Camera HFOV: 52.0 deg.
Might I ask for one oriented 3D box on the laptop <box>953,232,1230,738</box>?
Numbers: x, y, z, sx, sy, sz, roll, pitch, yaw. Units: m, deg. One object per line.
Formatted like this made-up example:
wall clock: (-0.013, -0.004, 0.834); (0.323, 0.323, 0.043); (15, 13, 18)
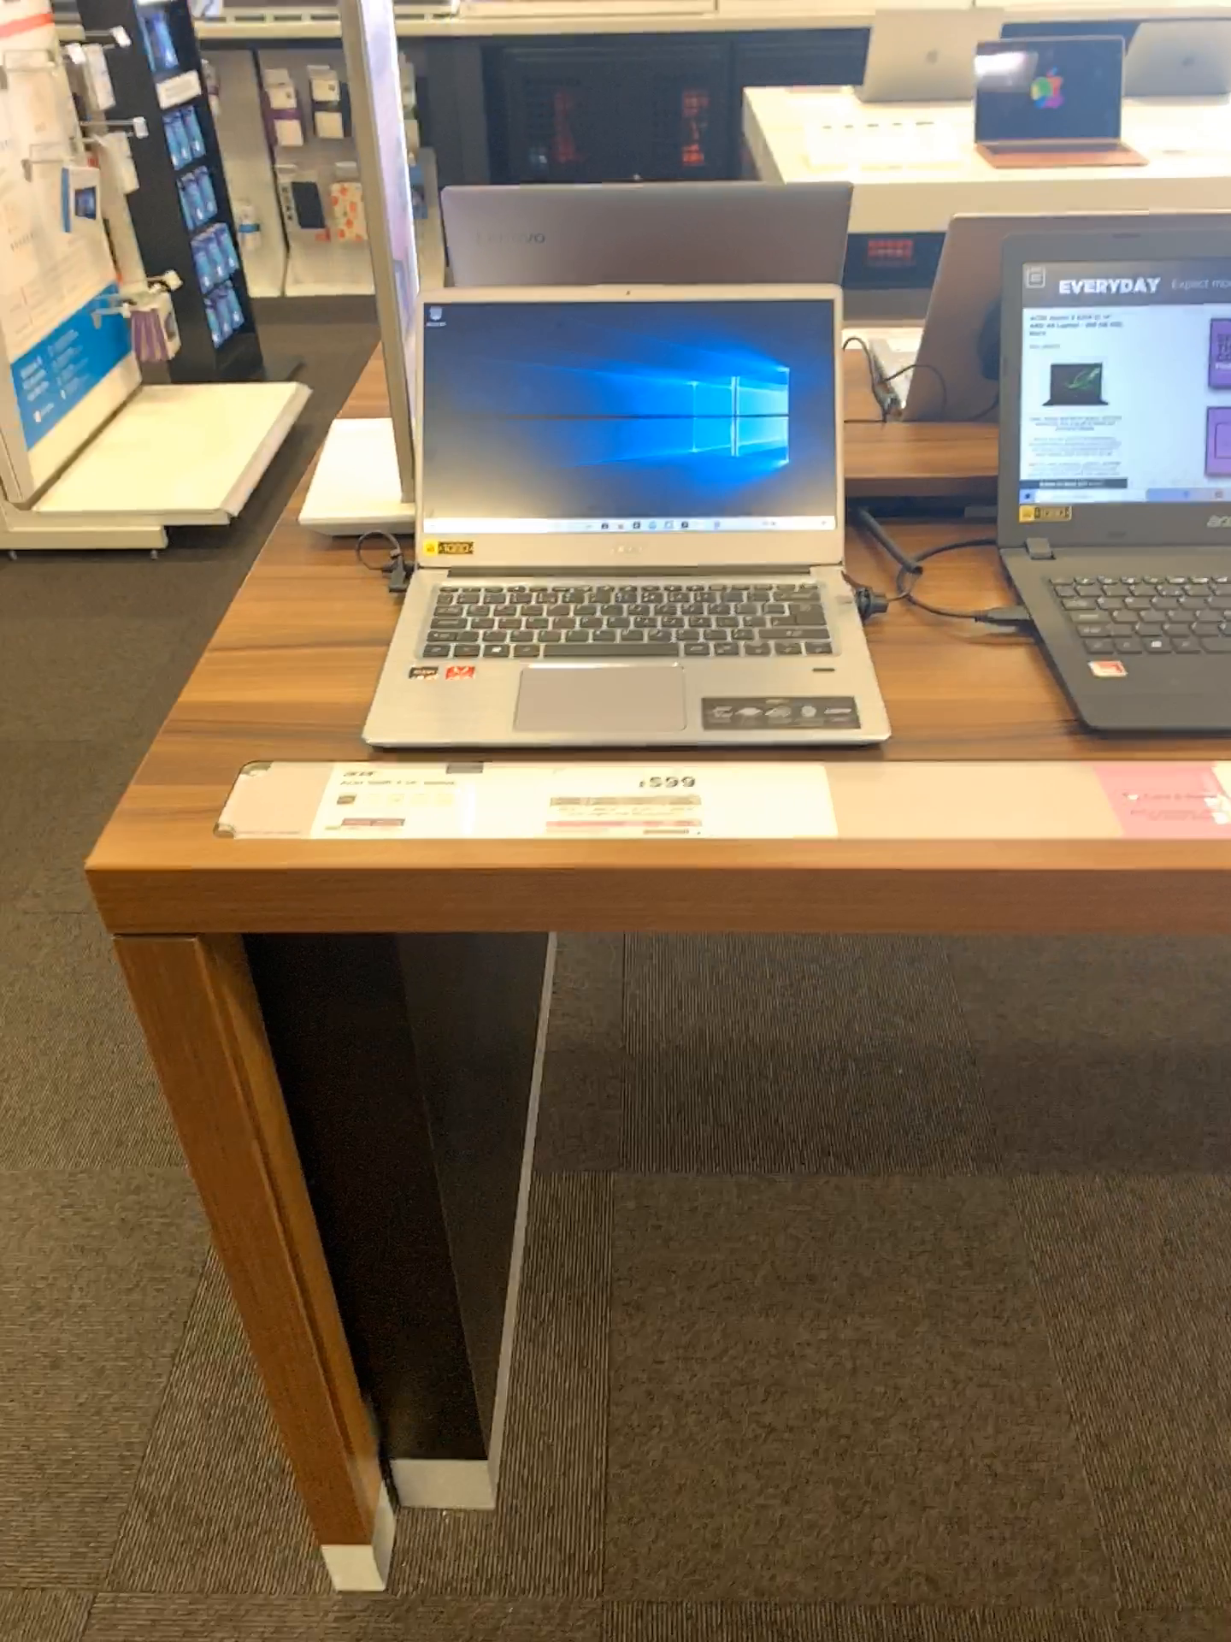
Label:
laptop: (0.469, -0.239, 0.836); (0.371, 0.191, 0.359); (-1, 38, -3)

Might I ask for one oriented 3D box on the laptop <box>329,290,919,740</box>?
laptop: (0.008, -0.222, 0.845); (0.307, 0.153, 0.362); (0, 38, 1)
